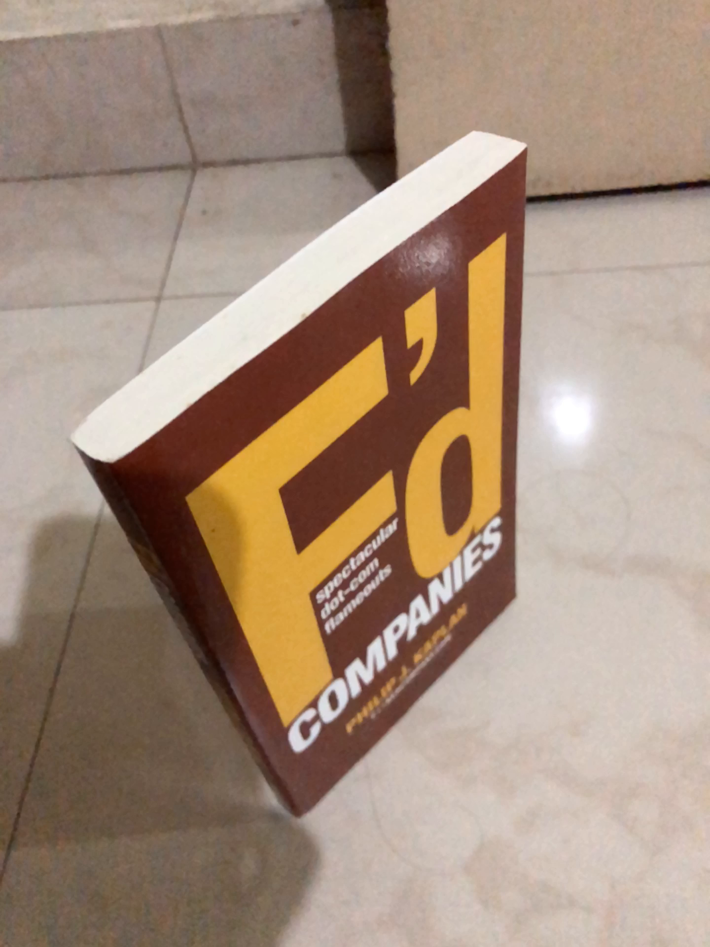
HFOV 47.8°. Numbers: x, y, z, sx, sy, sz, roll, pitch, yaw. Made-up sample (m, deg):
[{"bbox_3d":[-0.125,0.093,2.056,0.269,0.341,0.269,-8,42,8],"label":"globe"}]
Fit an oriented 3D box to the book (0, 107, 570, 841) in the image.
[{"bbox_3d":[0.003,0.020,0.239,0.030,0.199,0.130,35,63,30],"label":"book"}]
